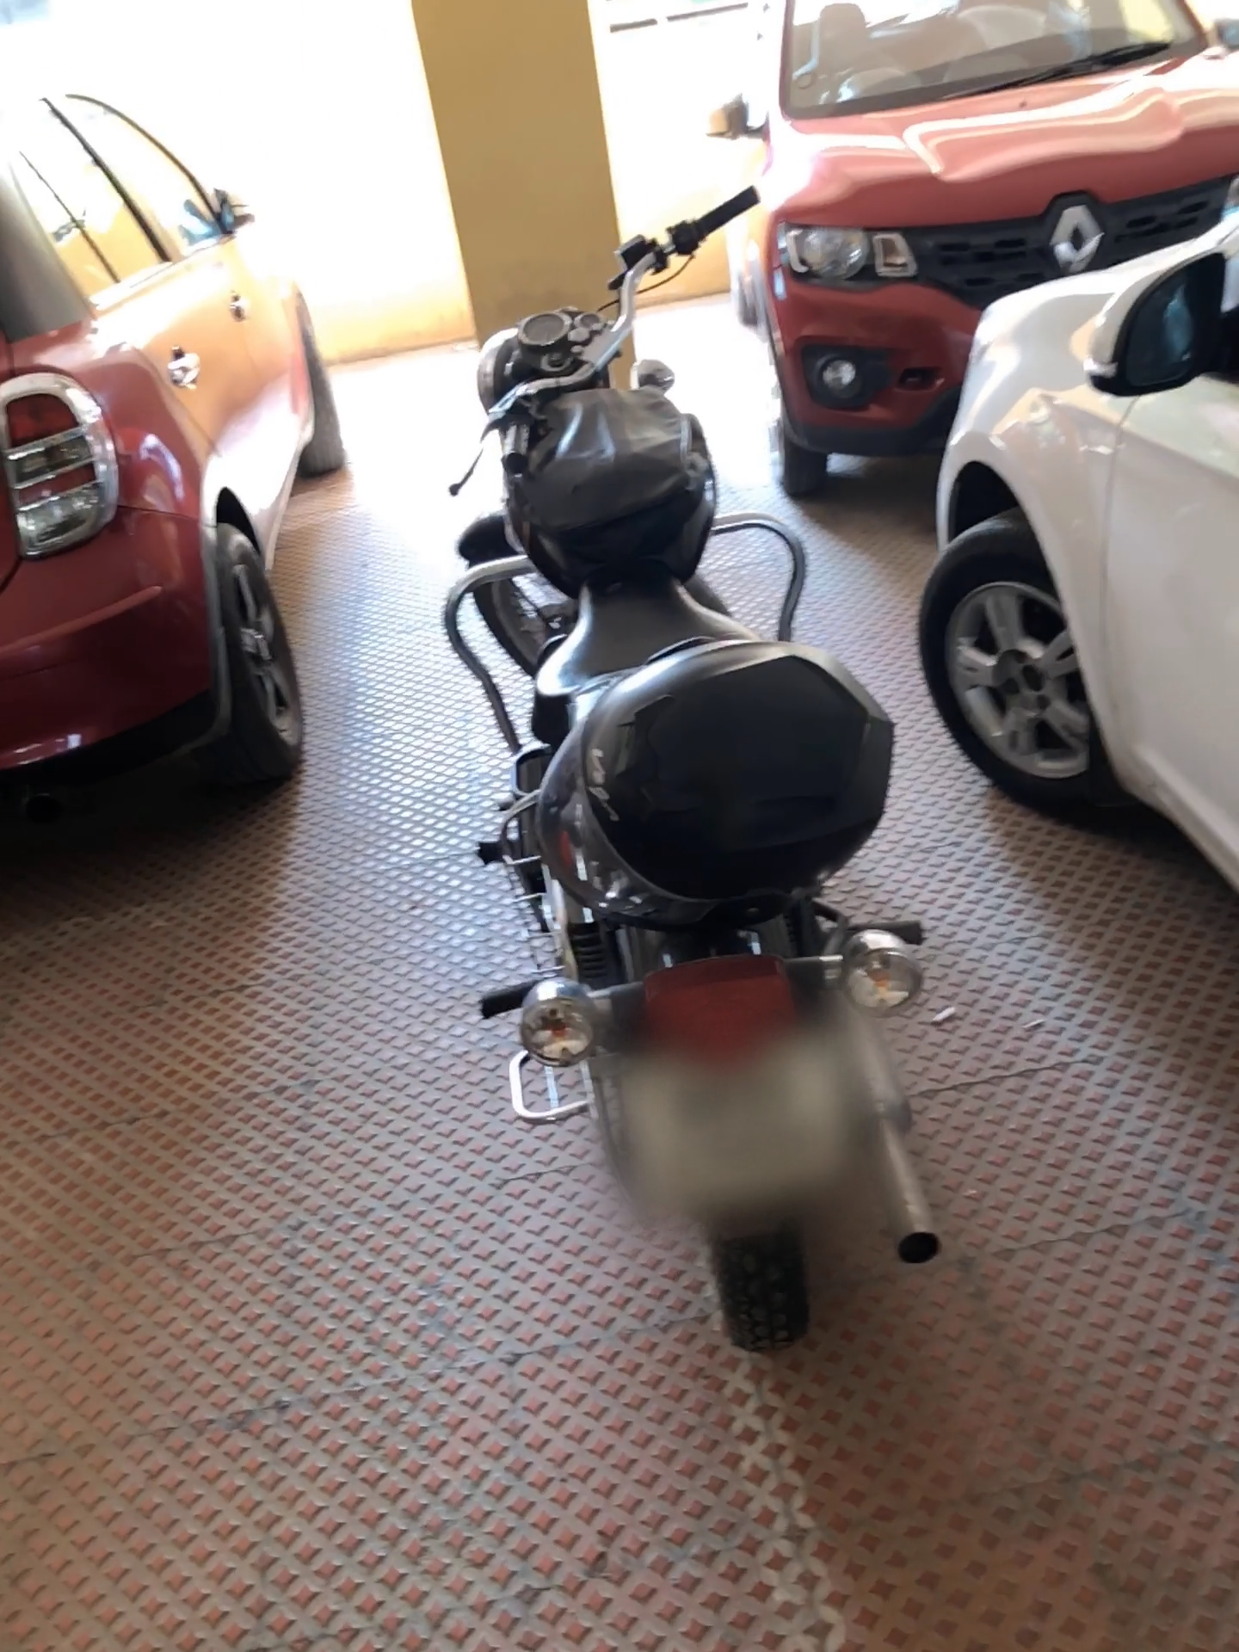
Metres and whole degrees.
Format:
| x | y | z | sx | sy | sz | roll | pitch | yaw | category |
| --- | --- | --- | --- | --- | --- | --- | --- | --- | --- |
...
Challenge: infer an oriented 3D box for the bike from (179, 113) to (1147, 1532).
| x | y | z | sx | sy | sz | roll | pitch | yaw | category |
| --- | --- | --- | --- | --- | --- | --- | --- | --- | --- |
| -0.107 | -0.213 | 2.020 | 0.691 | 1.217 | 1.794 | -15 | 35 | -7 | bike |
